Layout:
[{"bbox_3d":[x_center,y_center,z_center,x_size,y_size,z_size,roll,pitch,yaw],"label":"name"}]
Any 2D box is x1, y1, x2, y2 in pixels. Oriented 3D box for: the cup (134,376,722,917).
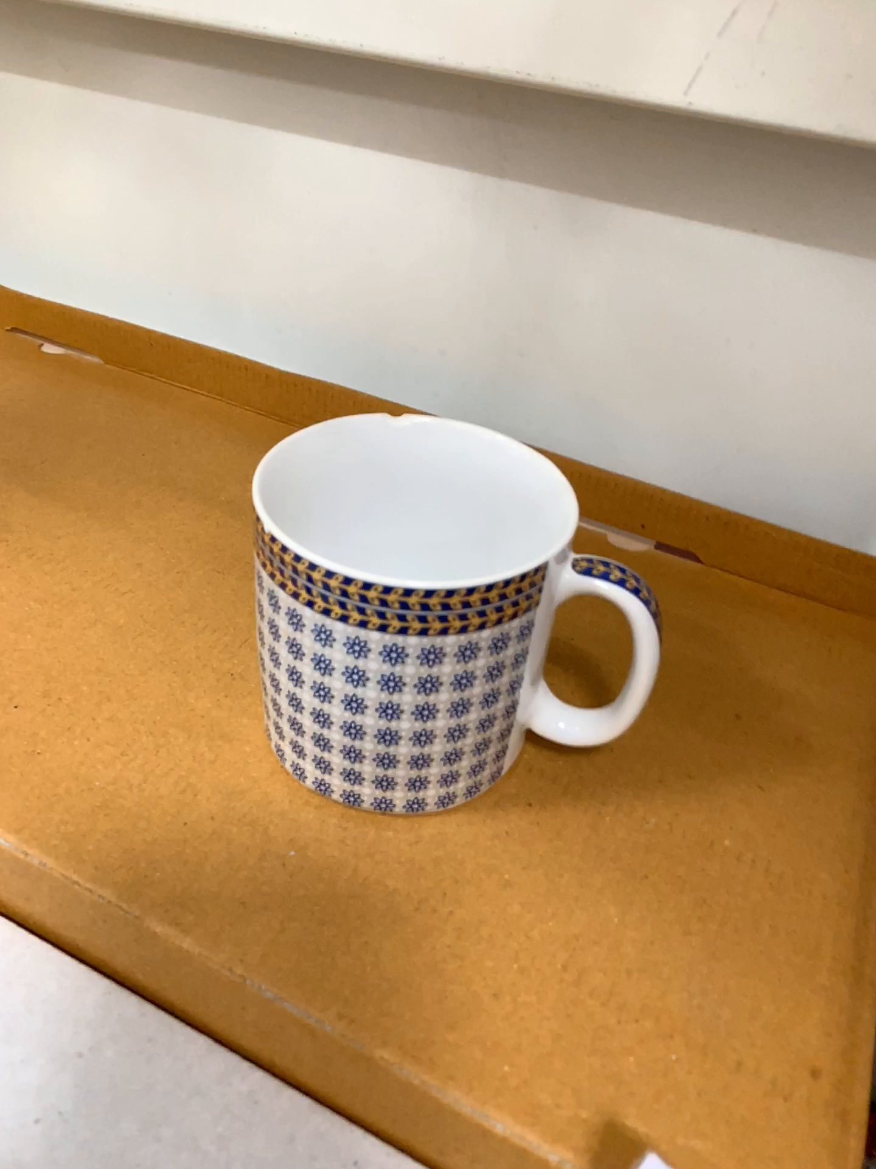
[{"bbox_3d":[0.002,0.008,0.216,0.110,0.069,0.081,14,35,10],"label":"cup"}]
